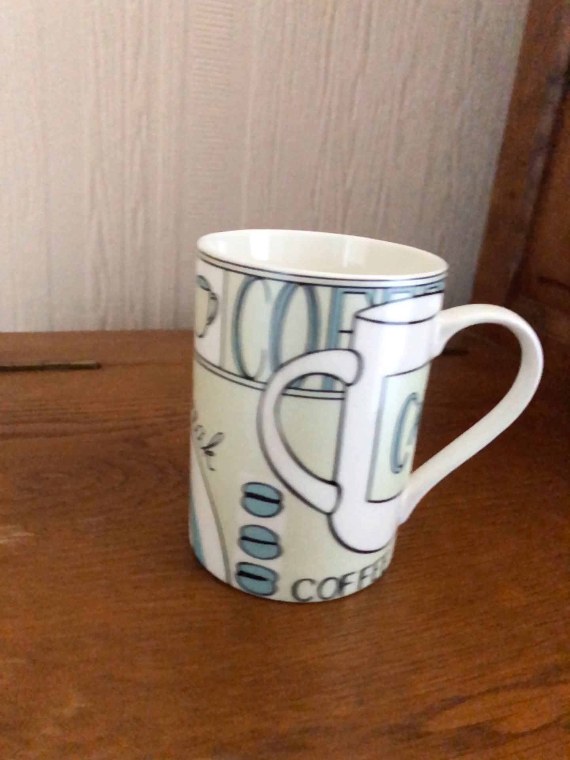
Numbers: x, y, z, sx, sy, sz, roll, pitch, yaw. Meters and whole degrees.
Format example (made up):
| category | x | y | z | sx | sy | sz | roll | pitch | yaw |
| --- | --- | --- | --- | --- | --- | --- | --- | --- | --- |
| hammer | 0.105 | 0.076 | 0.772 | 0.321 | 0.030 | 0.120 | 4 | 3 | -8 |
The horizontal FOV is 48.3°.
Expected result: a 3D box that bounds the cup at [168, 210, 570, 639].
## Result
| category | x | y | z | sx | sy | sz | roll | pitch | yaw |
| --- | --- | --- | --- | --- | --- | --- | --- | --- | --- |
| cup | 0.031 | 0.009 | 0.194 | 0.120 | 0.099 | 0.080 | 4 | 21 | -6 |
